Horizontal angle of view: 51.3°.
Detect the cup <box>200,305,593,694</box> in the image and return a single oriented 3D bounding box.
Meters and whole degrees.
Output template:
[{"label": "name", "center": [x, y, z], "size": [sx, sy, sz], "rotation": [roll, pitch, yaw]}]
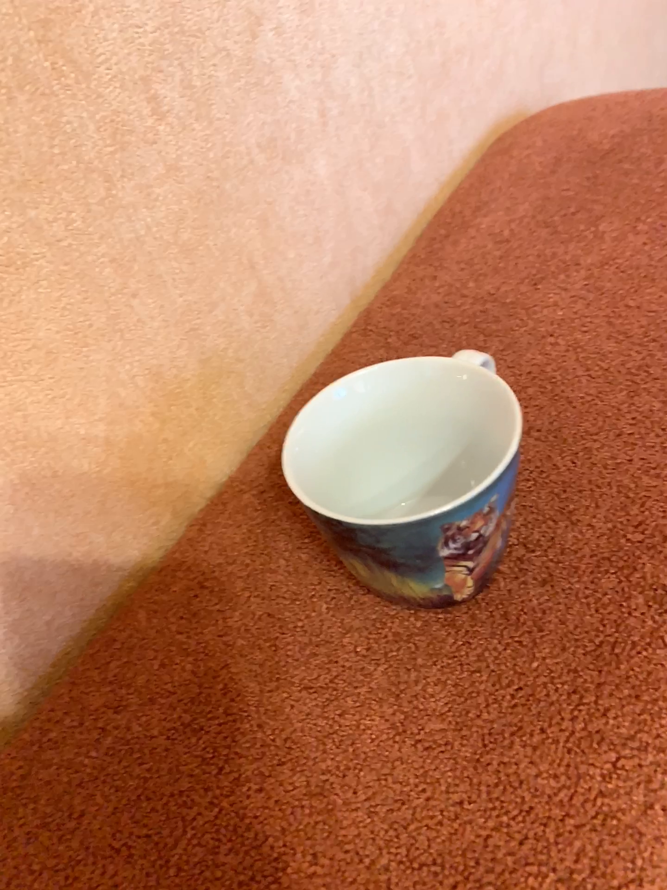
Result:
[{"label": "cup", "center": [0.023, 0.009, 0.197], "size": [0.072, 0.047, 0.083], "rotation": [15, 54, 34]}]
